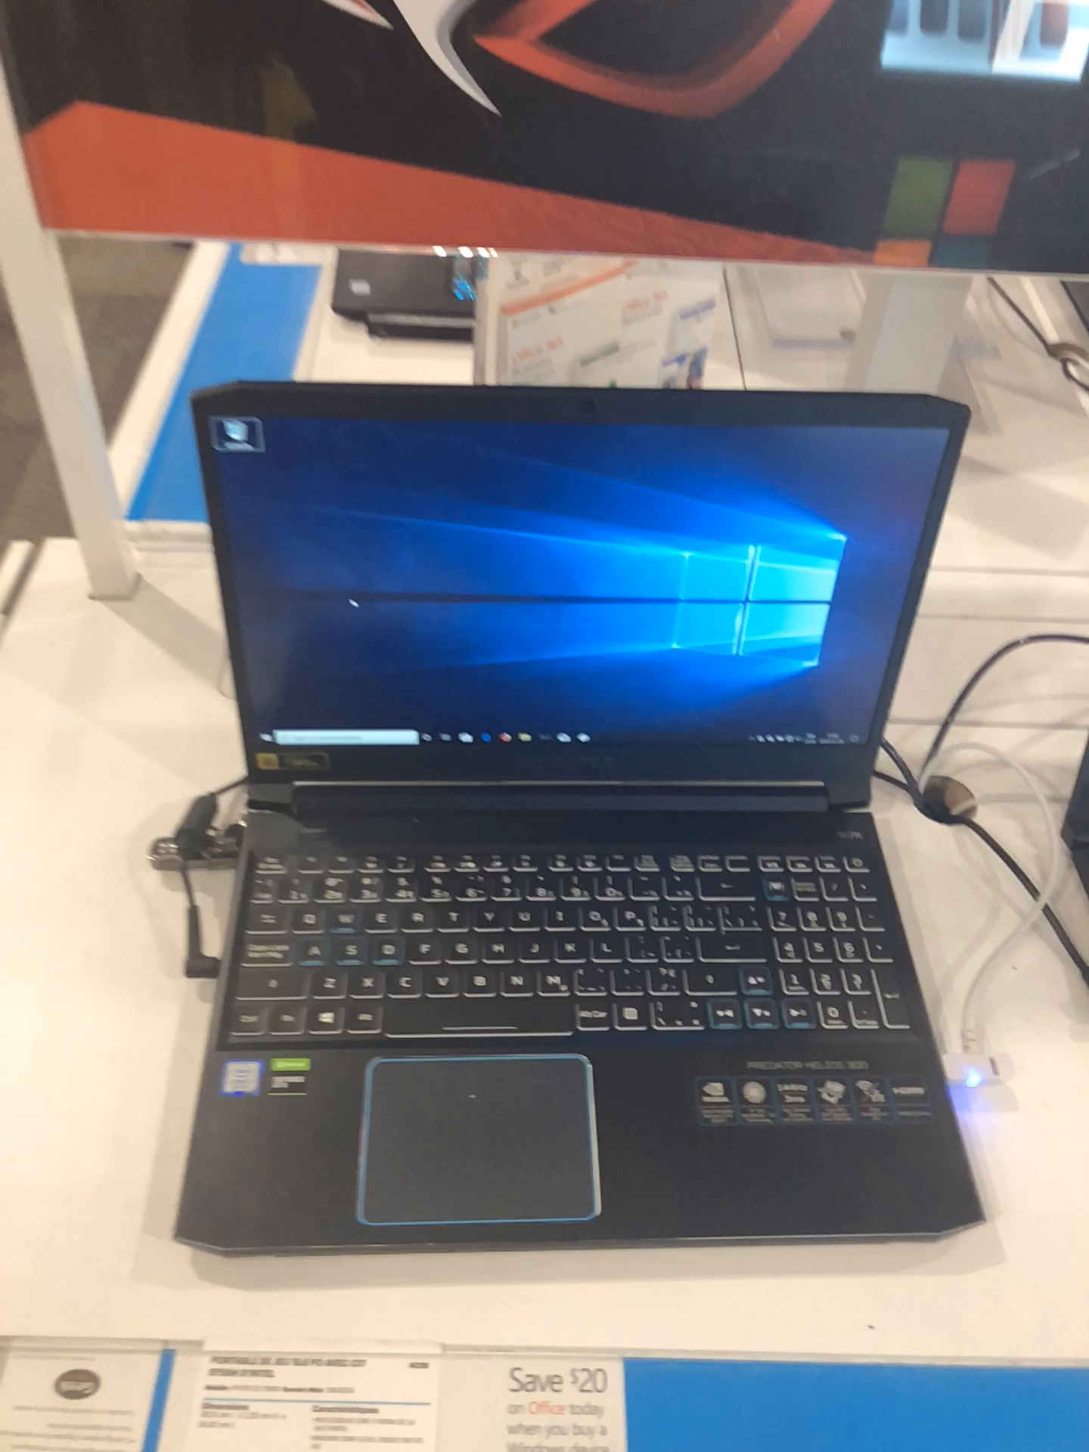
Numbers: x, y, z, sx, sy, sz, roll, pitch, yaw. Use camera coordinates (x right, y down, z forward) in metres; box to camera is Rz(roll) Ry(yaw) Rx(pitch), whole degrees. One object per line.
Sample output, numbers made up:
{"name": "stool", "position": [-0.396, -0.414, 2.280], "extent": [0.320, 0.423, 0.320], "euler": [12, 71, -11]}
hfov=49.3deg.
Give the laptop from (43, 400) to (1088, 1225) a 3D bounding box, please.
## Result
{"name": "laptop", "position": [0.020, 0.036, 0.528], "extent": [0.348, 0.231, 0.274], "euler": [0, 48, -2]}
